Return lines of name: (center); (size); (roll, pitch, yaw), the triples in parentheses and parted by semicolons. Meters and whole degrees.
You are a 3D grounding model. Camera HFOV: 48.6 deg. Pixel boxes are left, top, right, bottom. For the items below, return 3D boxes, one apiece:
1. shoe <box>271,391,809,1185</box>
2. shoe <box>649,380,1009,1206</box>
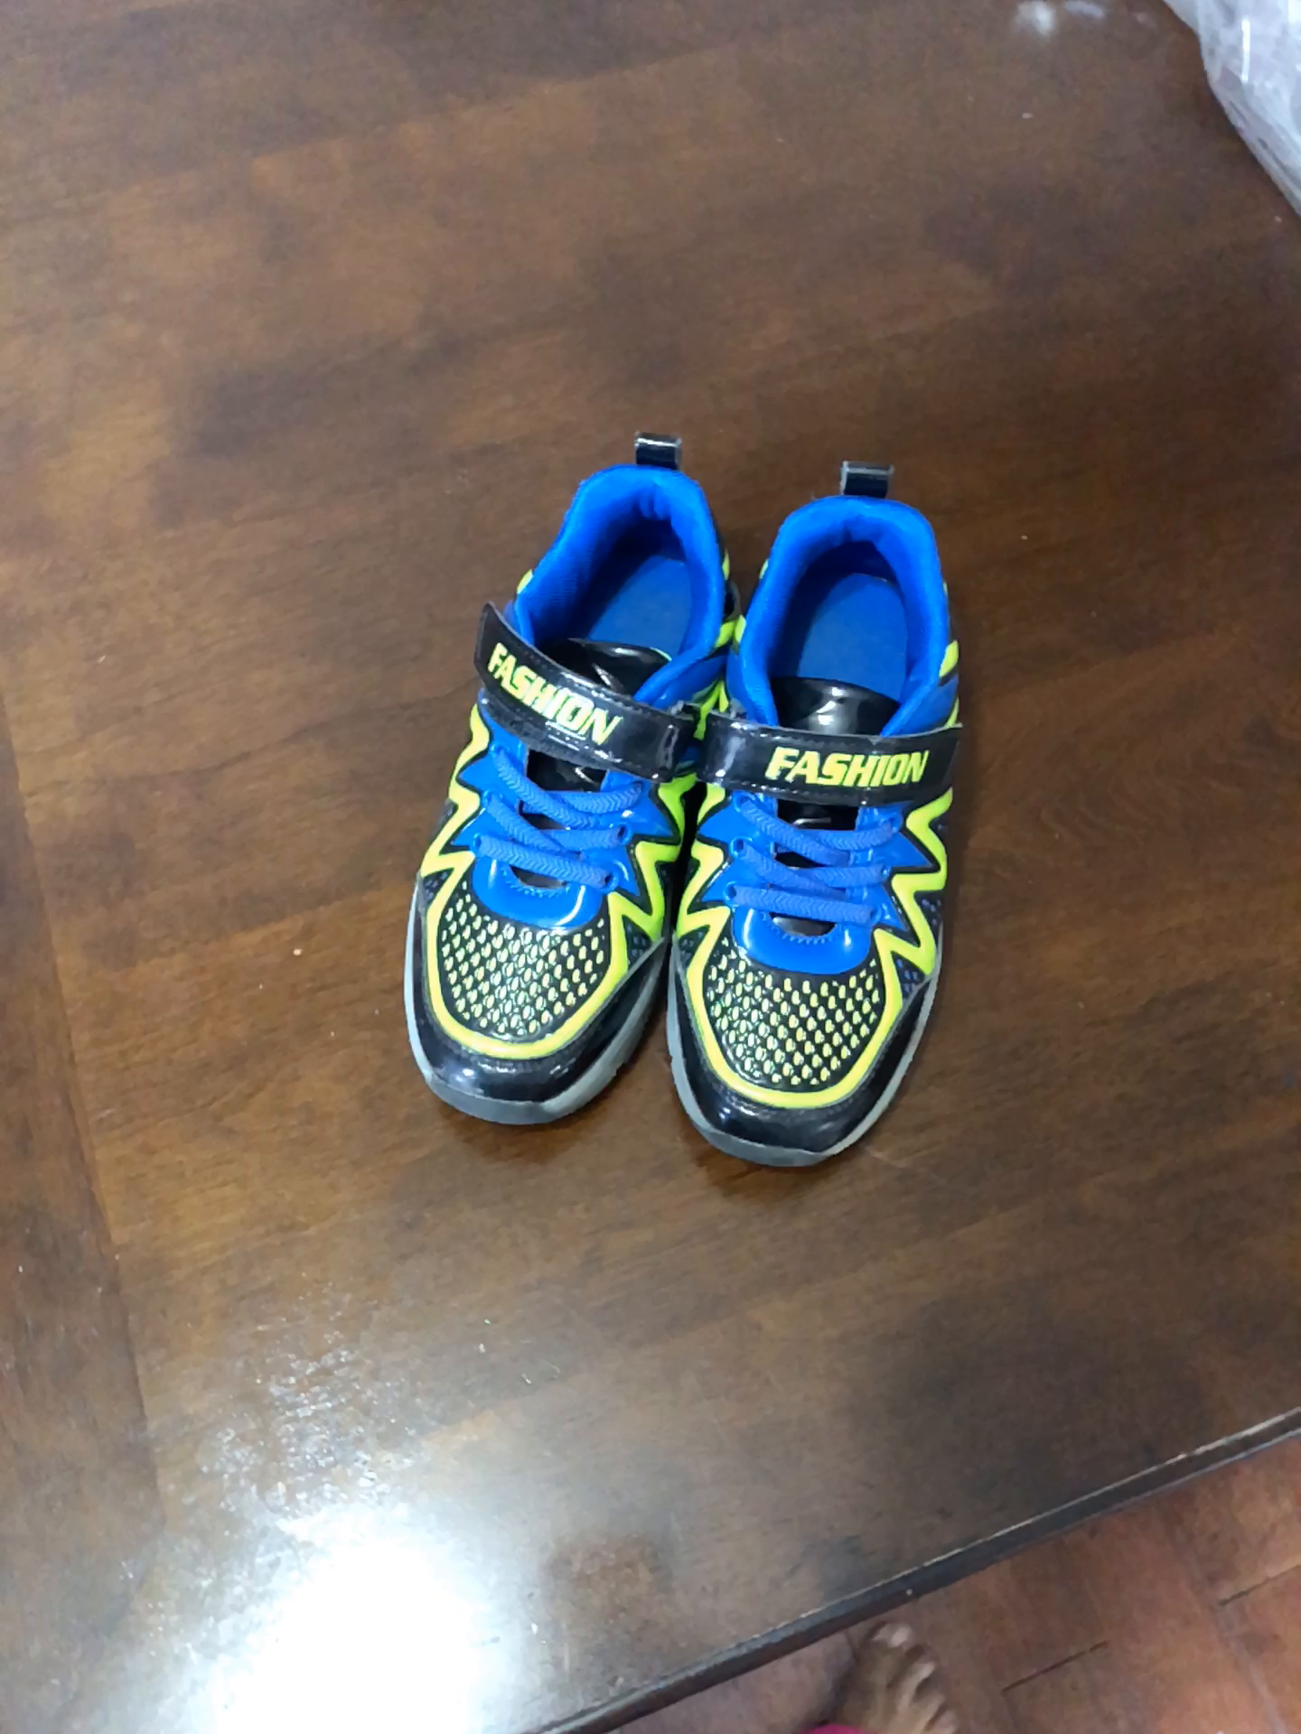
shoe: (-0.024, -0.024, 0.468); (0.100, 0.120, 0.210); (13, 65, 6)
shoe: (0.055, -0.023, 0.464); (0.090, 0.120, 0.230); (5, 65, 2)
